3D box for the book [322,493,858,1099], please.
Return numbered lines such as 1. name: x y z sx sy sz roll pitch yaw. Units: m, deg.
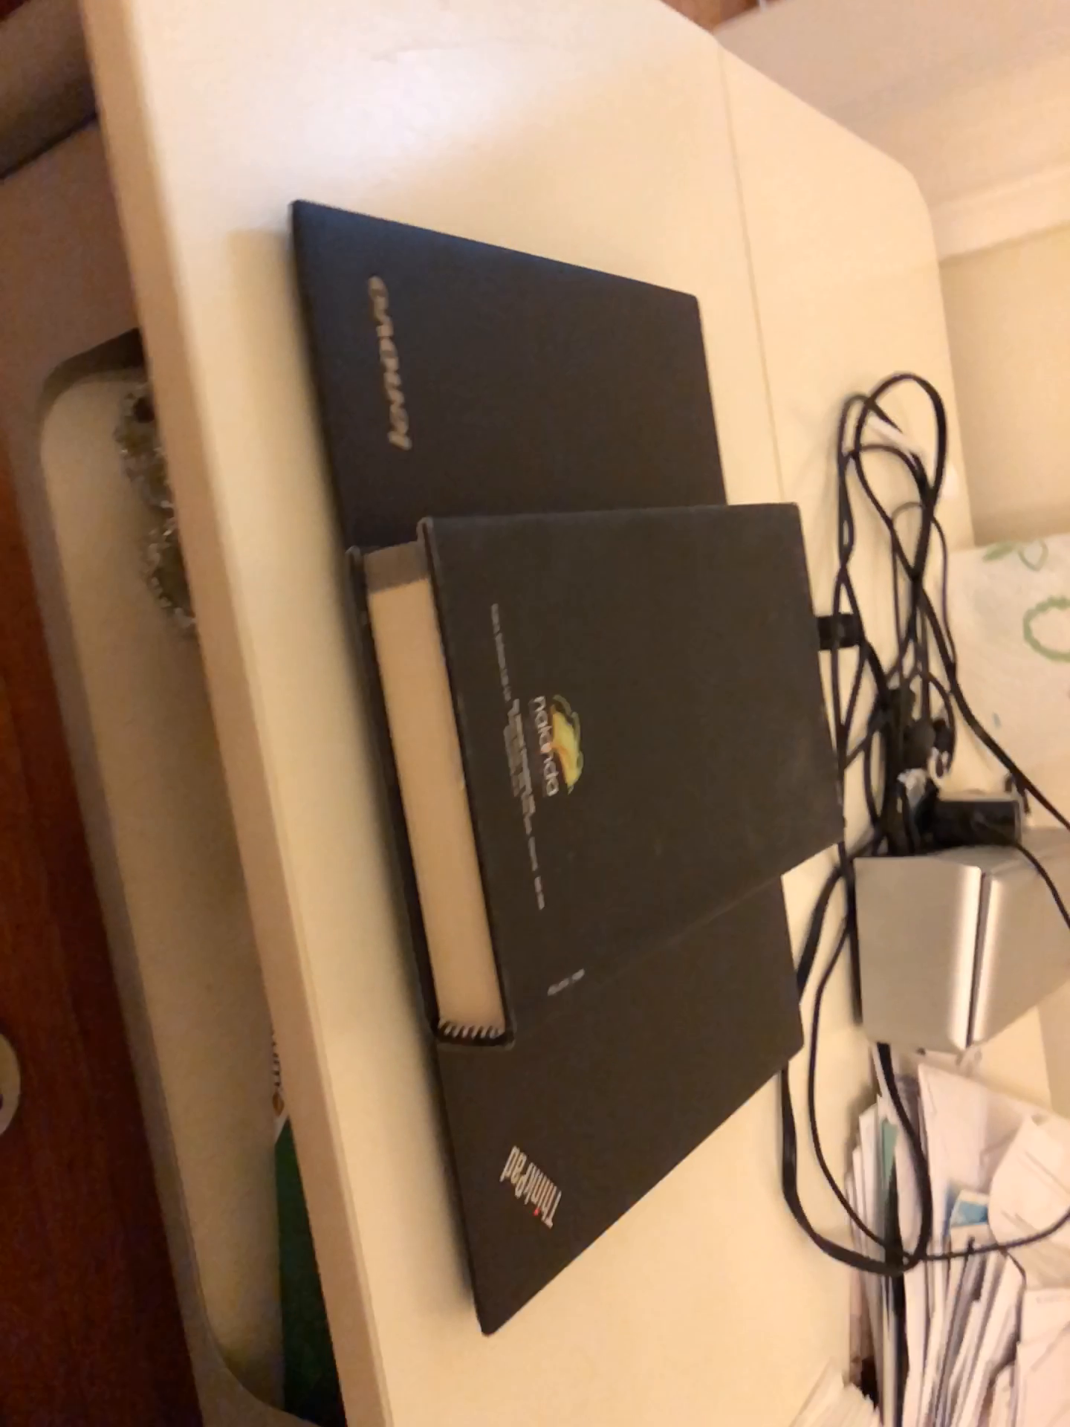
1. book: 0.038 0.006 0.398 0.231 0.040 0.150 -16 98 -54
